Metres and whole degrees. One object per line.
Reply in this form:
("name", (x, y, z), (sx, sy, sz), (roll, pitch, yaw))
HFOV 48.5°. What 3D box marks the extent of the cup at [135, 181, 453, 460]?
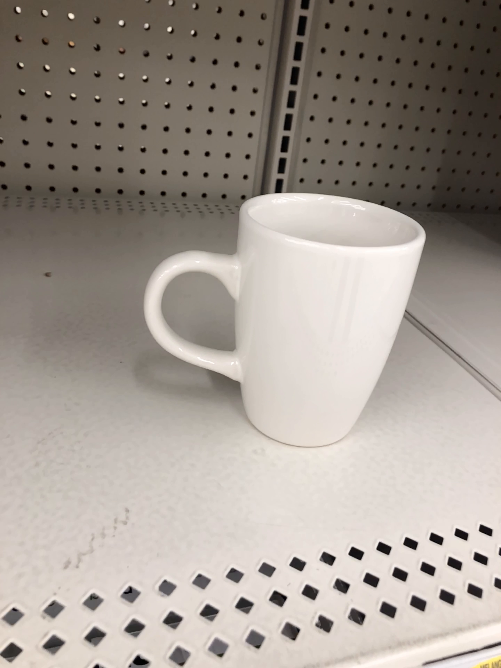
("cup", (0.011, -0.008, 0.278), (0.125, 0.106, 0.081), (4, 27, -7))
